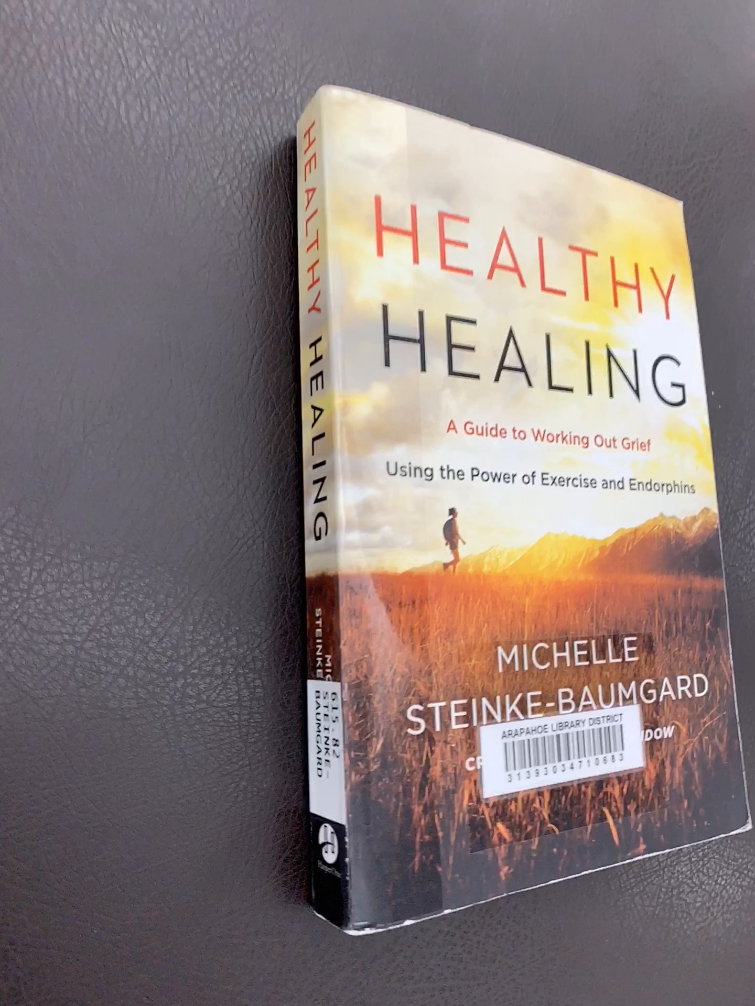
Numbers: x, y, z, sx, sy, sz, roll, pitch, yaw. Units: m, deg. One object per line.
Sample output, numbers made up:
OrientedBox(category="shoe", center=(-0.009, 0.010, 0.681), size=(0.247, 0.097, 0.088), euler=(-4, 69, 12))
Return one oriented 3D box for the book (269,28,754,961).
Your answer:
OrientedBox(category="book", center=(0.042, -0.006, 0.225), size=(0.141, 0.027, 0.212), euler=(3, 80, -33))
